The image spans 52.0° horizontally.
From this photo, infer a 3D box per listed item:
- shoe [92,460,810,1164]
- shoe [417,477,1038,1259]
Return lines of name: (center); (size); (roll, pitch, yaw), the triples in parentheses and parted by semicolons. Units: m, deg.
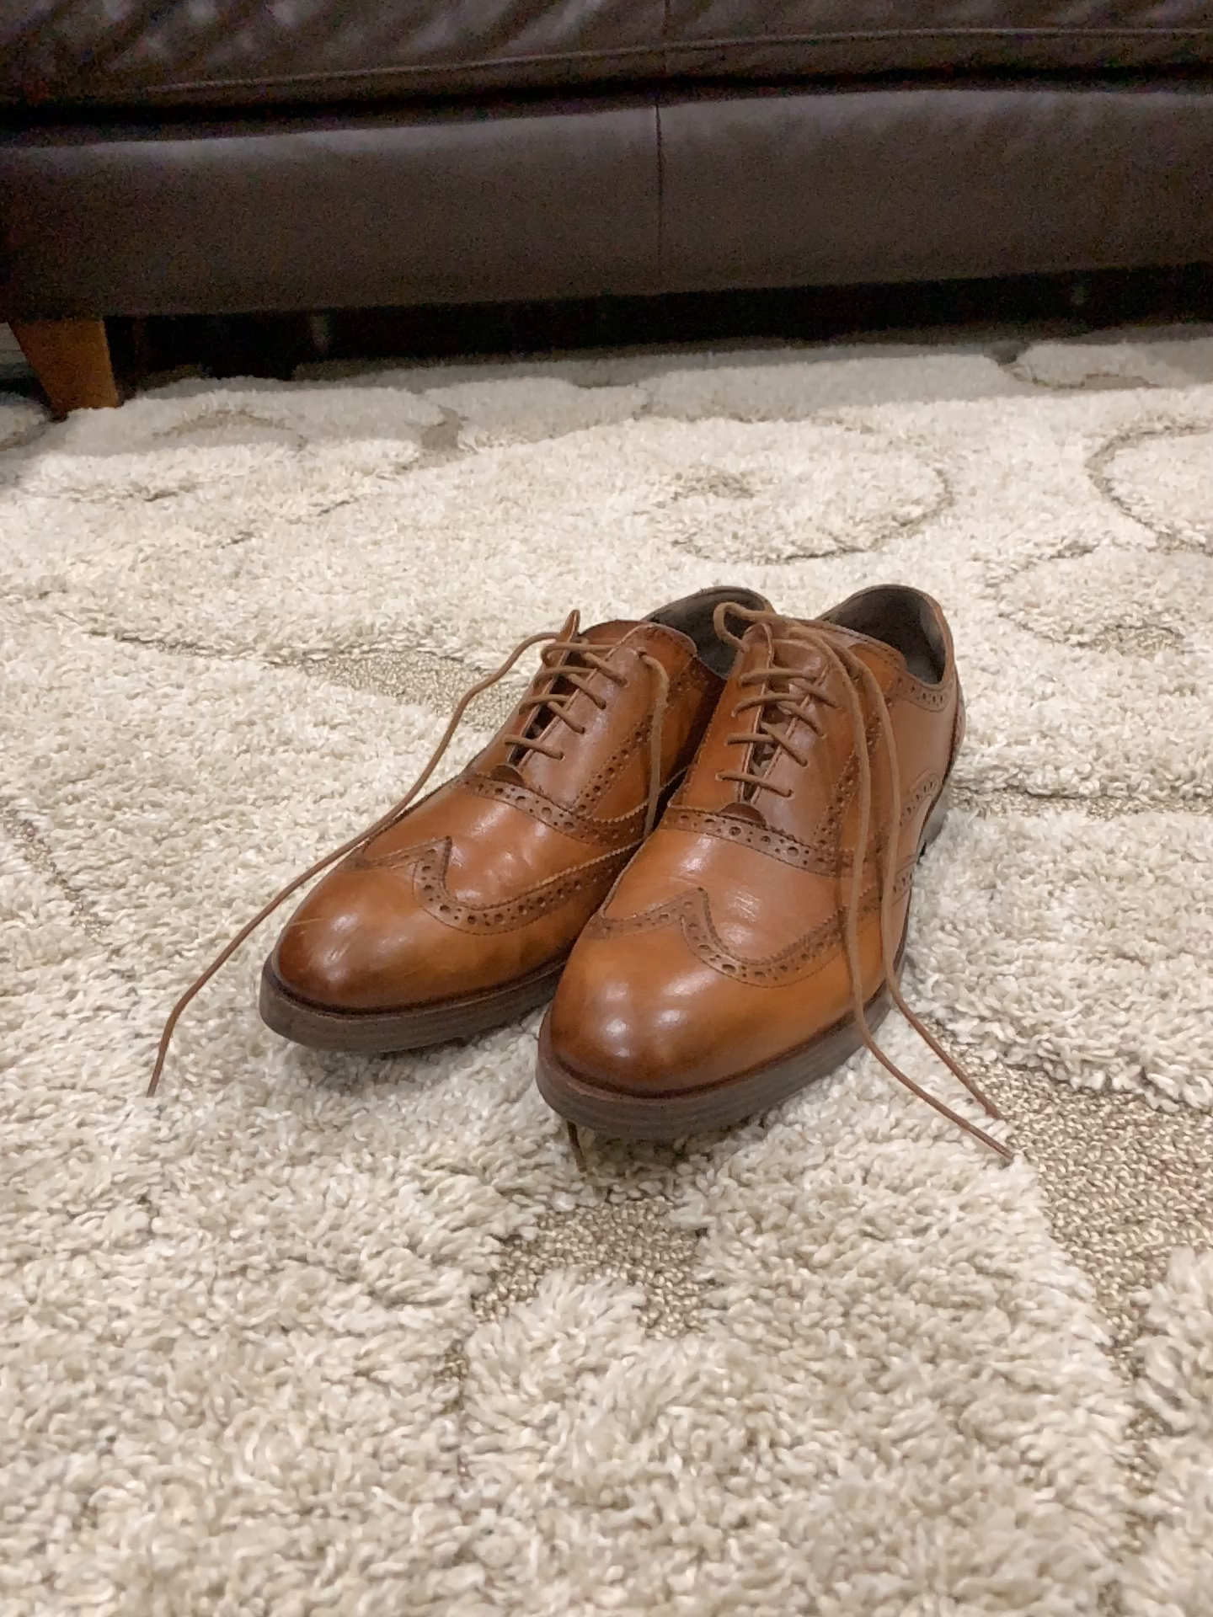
shoe: (-0.031, -0.024, 0.481); (0.105, 0.131, 0.284); (16, 37, 28)
shoe: (0.064, -0.008, 0.447); (0.105, 0.131, 0.282); (13, 36, 24)
